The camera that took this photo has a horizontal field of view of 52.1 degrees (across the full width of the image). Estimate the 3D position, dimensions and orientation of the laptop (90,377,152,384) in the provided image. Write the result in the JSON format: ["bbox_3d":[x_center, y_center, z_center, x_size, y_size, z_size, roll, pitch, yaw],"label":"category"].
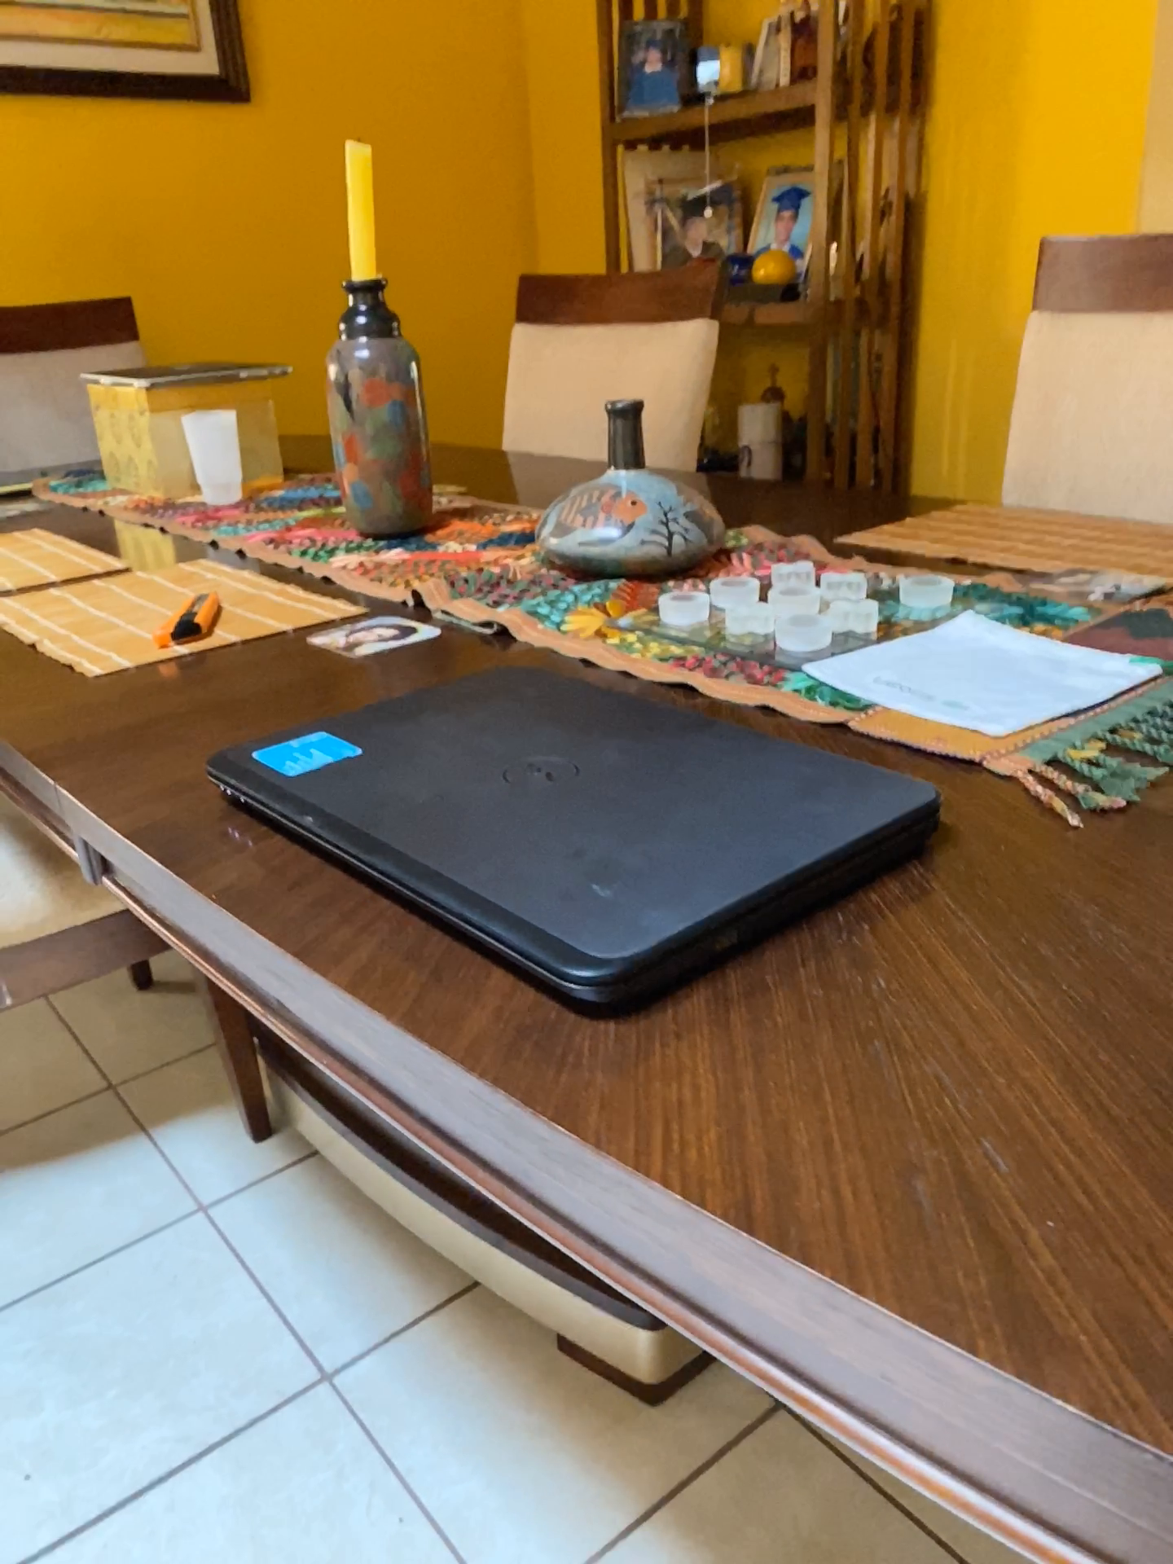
[{"bbox_3d":[-0.706,-0.607,1.812,0.002,0.003,0.280,-46,39,-18],"label":"laptop"}]

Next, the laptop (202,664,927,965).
[{"bbox_3d":[-0.028,-0.006,0.693,0.248,0.001,0.353,-21,29,-37],"label":"laptop"}]

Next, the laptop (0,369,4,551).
[{"bbox_3d":[-0.996,-0.459,1.672,0.216,0.194,0.319,-21,28,-33],"label":"laptop"}]
